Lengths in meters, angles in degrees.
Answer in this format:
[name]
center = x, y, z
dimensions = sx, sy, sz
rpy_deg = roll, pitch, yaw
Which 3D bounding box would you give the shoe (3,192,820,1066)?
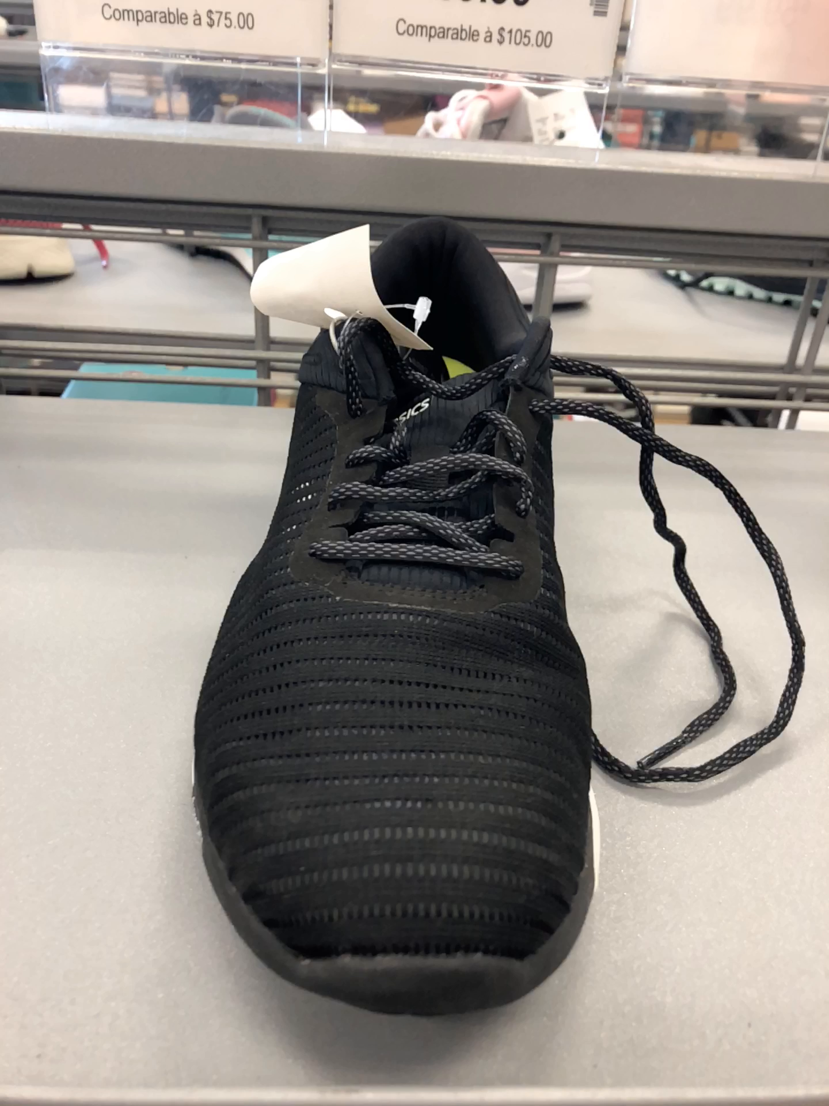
[shoe]
center = -0.009, -0.021, 0.294
dimensions = 0.120, 0.119, 0.302
rpy_deg = 2, 31, -4
